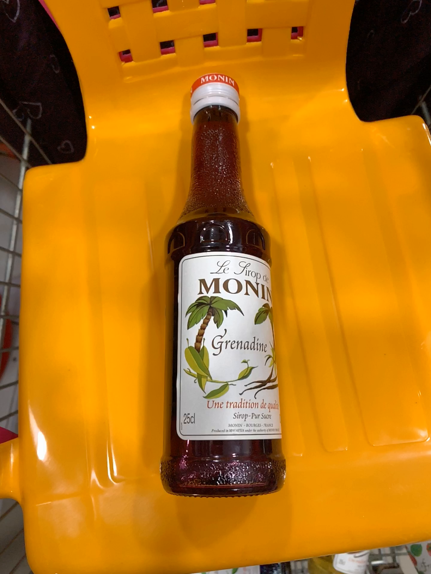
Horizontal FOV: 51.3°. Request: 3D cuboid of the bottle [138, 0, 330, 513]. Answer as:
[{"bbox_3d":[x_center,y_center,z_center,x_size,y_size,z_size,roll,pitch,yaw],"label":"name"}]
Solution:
[{"bbox_3d":[0.004,-0.028,0.221,0.060,0.050,0.240,10,68,-30],"label":"bottle"}]
